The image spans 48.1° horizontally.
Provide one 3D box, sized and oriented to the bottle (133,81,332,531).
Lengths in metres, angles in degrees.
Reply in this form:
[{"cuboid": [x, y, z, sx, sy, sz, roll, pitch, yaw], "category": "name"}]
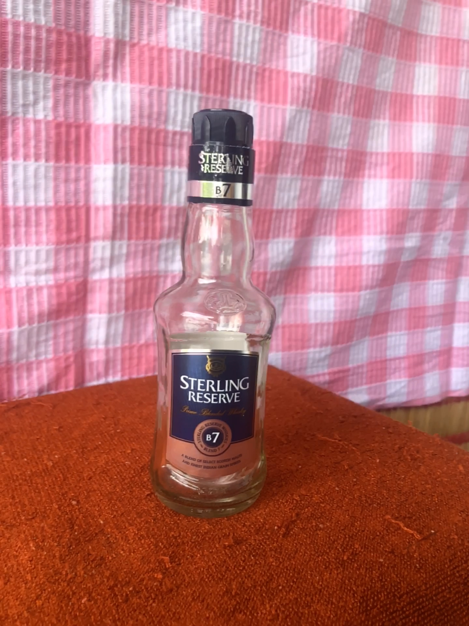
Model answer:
[{"cuboid": [-0.006, 0.001, 0.221, 0.060, 0.169, 0.050, 4, 13, -8], "category": "bottle"}]
